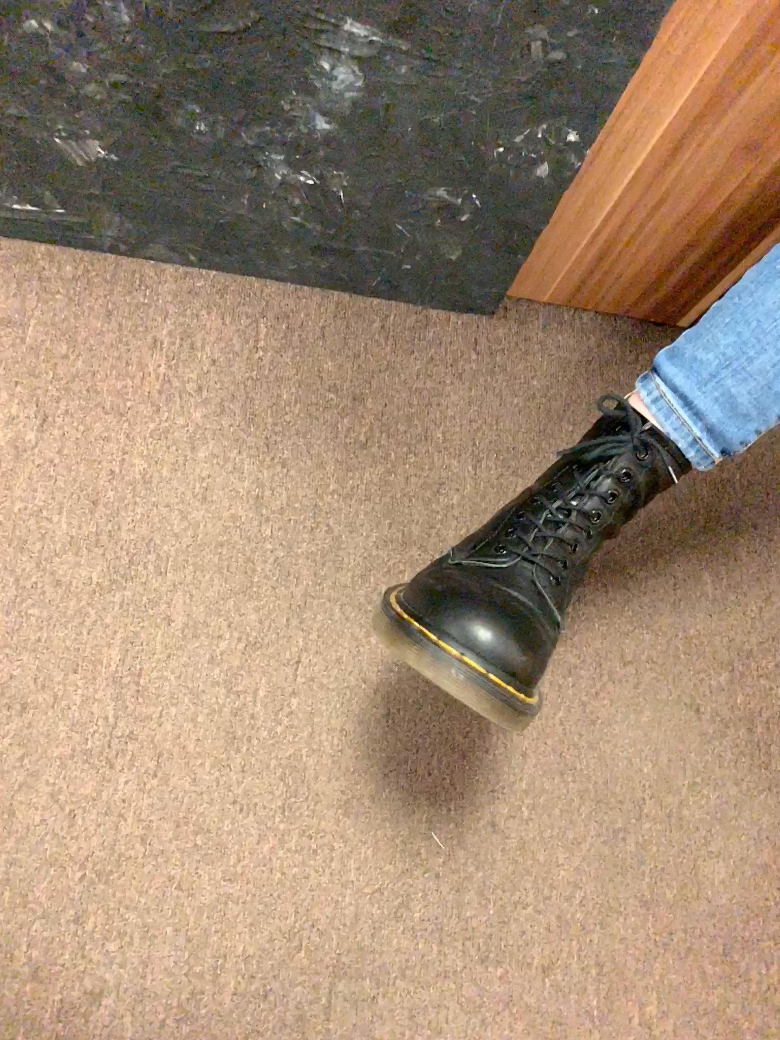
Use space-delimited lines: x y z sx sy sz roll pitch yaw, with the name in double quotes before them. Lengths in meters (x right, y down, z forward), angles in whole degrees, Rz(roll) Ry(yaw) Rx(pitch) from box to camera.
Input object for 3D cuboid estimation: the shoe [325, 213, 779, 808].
"shoe" 0.108 -0.018 0.521 0.120 0.370 0.230 39 98 1
